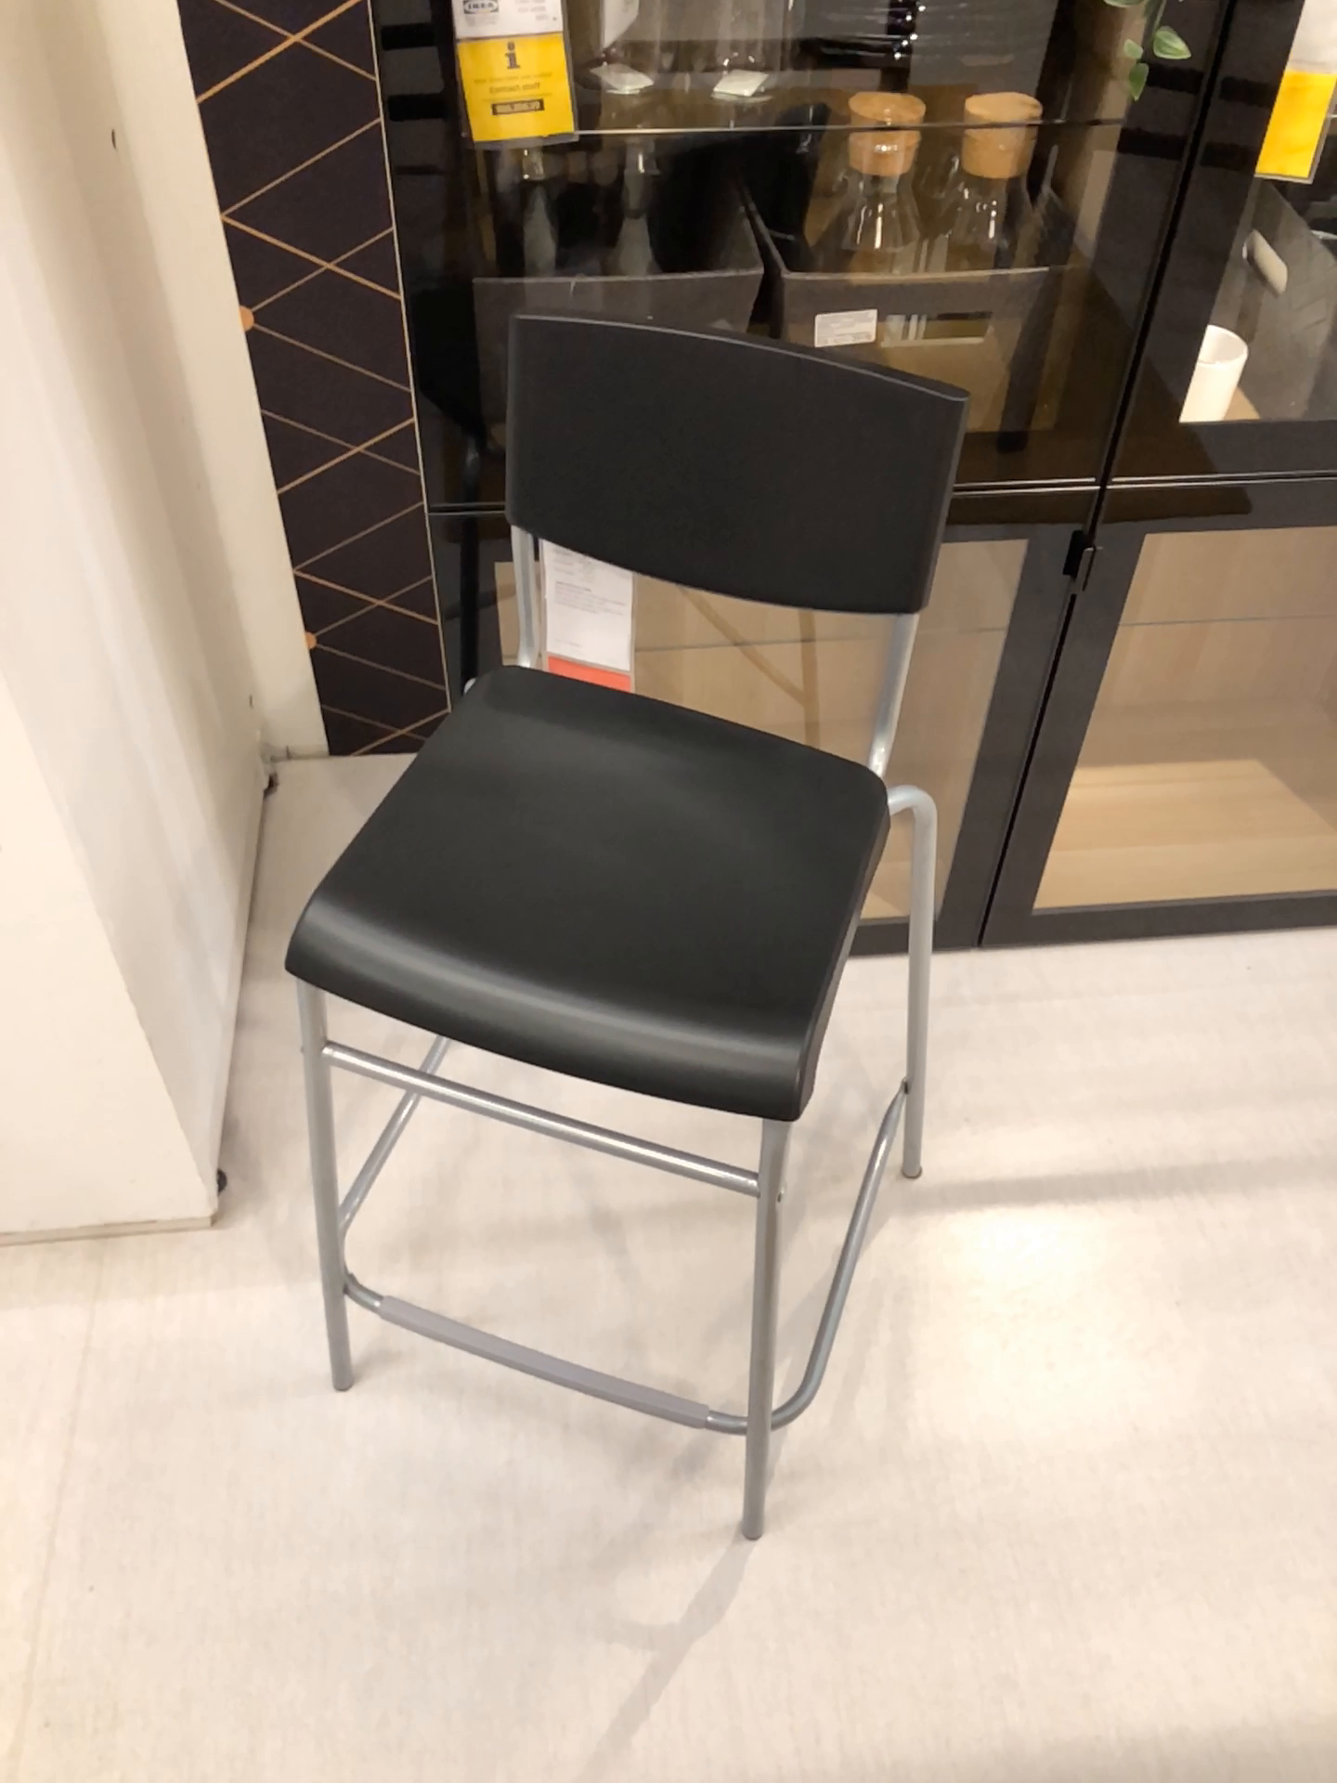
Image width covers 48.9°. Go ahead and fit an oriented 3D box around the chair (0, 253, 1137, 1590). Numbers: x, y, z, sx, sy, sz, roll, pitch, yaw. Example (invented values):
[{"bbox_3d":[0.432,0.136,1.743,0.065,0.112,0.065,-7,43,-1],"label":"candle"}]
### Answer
[{"bbox_3d":[-0.055,0.051,1.089,0.540,0.765,0.483,16,49,13],"label":"chair"}]
